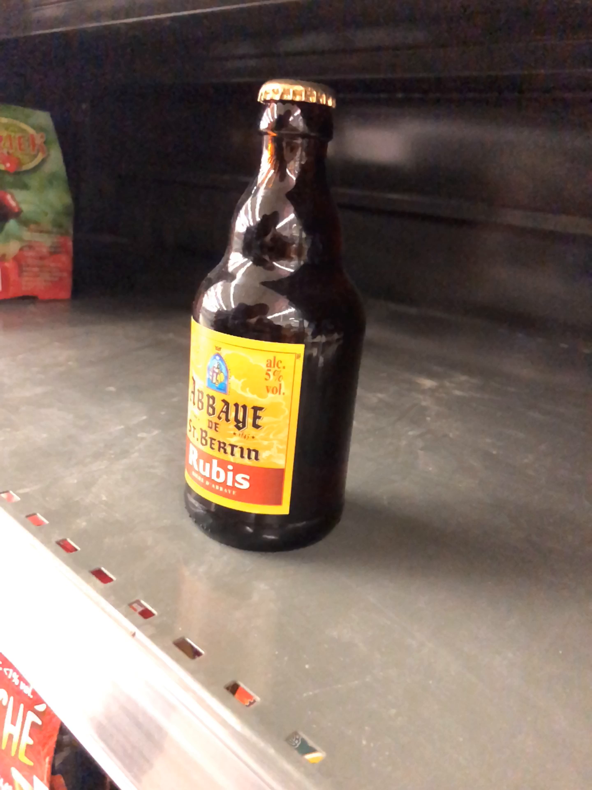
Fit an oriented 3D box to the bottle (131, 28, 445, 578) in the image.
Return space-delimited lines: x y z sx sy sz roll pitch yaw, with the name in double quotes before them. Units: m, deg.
"bottle" -0.009 -0.034 0.252 0.080 0.169 0.070 20 22 40
